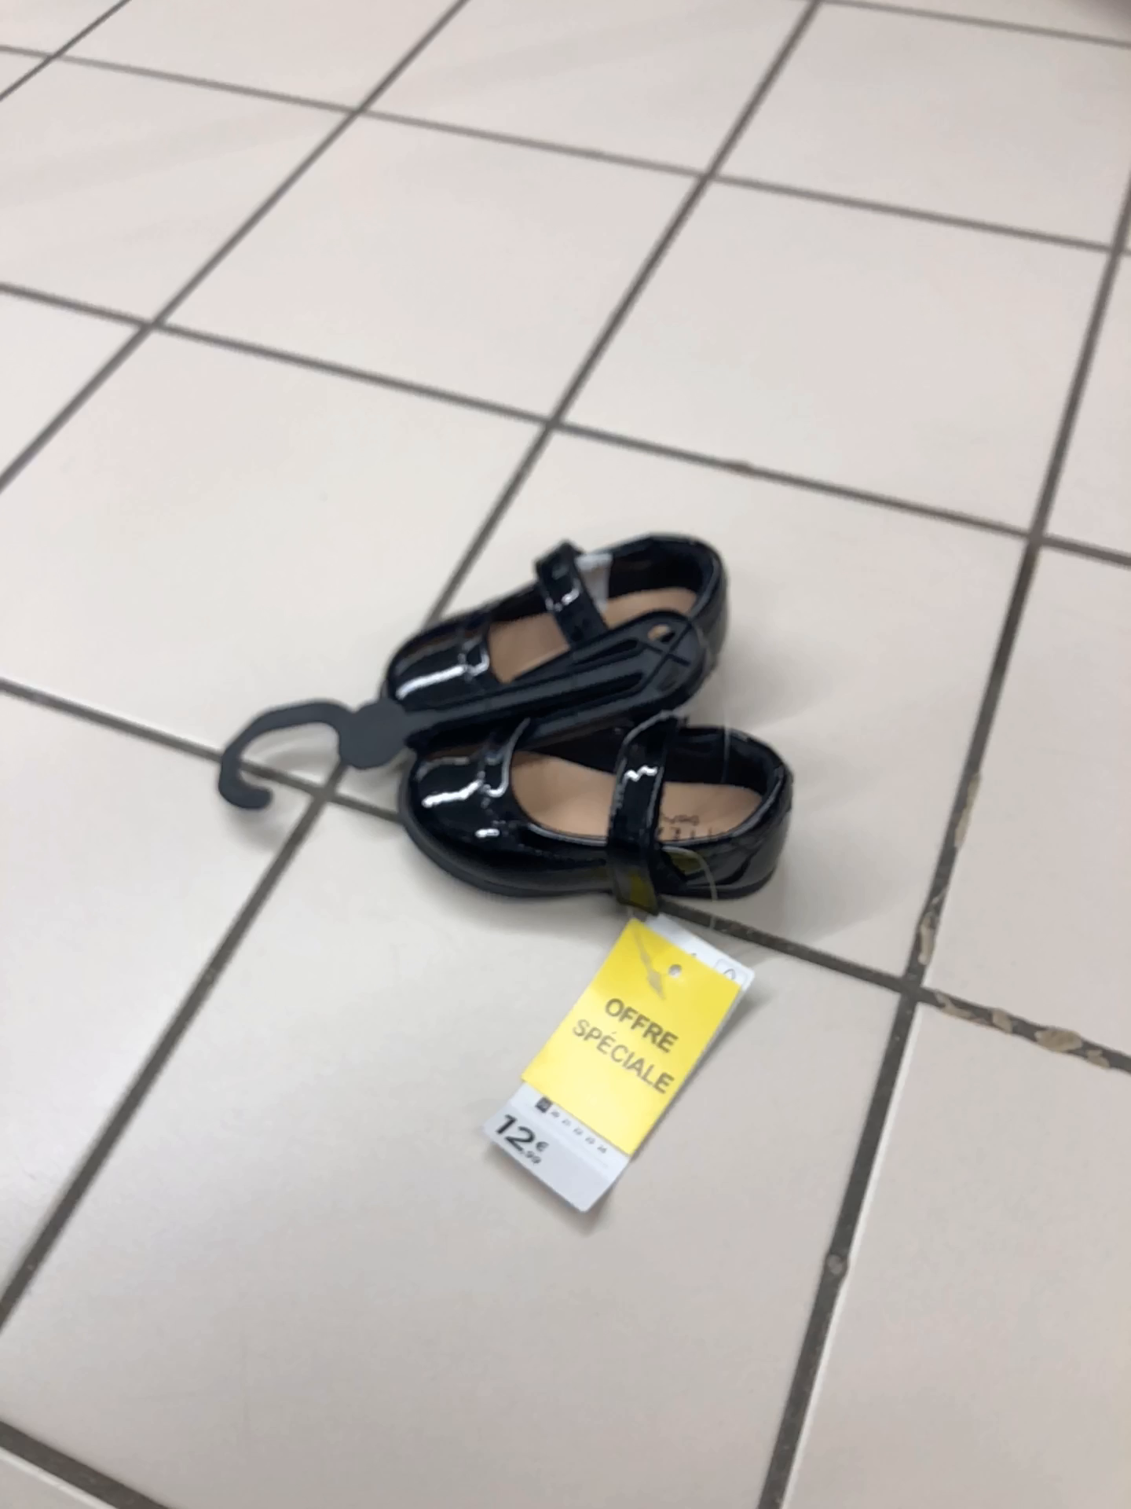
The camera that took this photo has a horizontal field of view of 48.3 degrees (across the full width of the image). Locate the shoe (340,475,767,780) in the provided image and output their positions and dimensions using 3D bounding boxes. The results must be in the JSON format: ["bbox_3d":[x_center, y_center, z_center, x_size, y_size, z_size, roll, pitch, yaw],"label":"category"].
[{"bbox_3d":[-0.004,-0.044,0.426,0.127,0.048,0.060,-14,55,-7],"label":"shoe"}]

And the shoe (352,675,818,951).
[{"bbox_3d":[0.008,0.018,0.386,0.130,0.048,0.060,4,54,5],"label":"shoe"}]
